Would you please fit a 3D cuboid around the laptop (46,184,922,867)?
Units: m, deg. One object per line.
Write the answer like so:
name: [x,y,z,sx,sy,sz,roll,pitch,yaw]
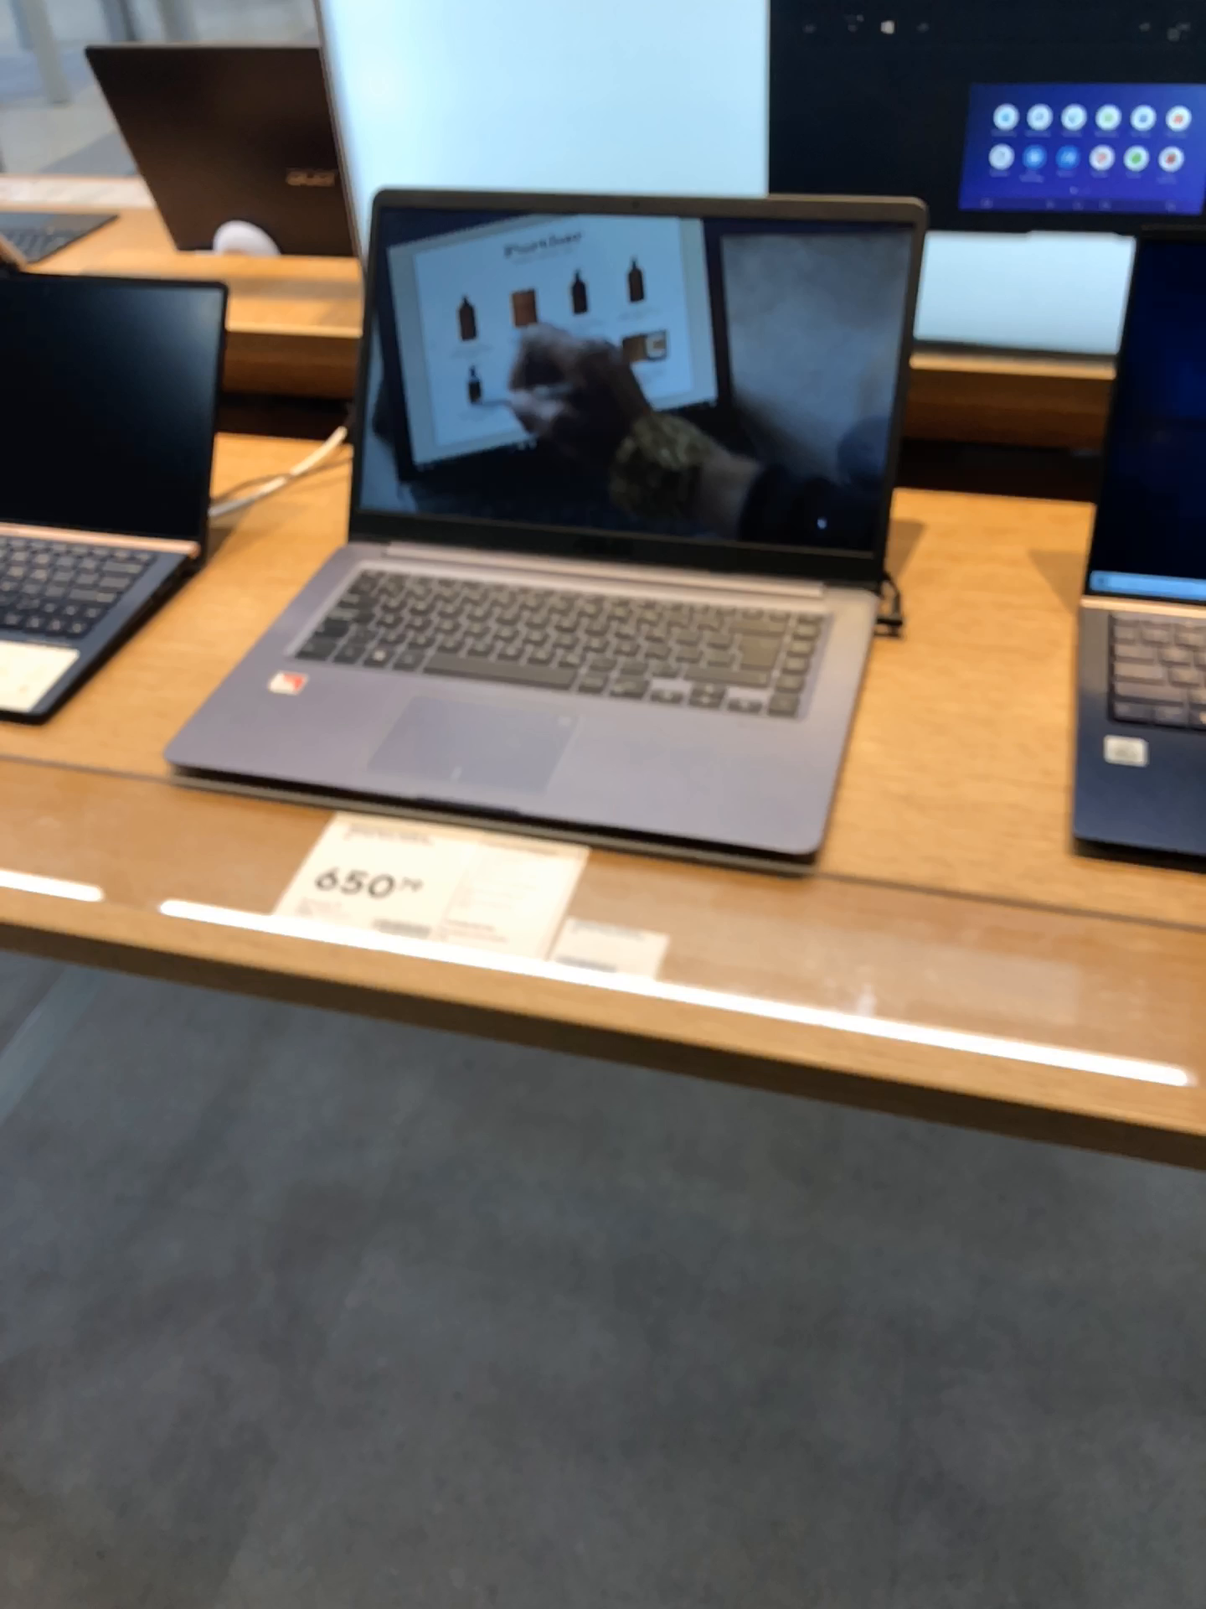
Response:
laptop: [-0.026,-0.190,0.761,0.353,0.177,0.392,8,42,14]
